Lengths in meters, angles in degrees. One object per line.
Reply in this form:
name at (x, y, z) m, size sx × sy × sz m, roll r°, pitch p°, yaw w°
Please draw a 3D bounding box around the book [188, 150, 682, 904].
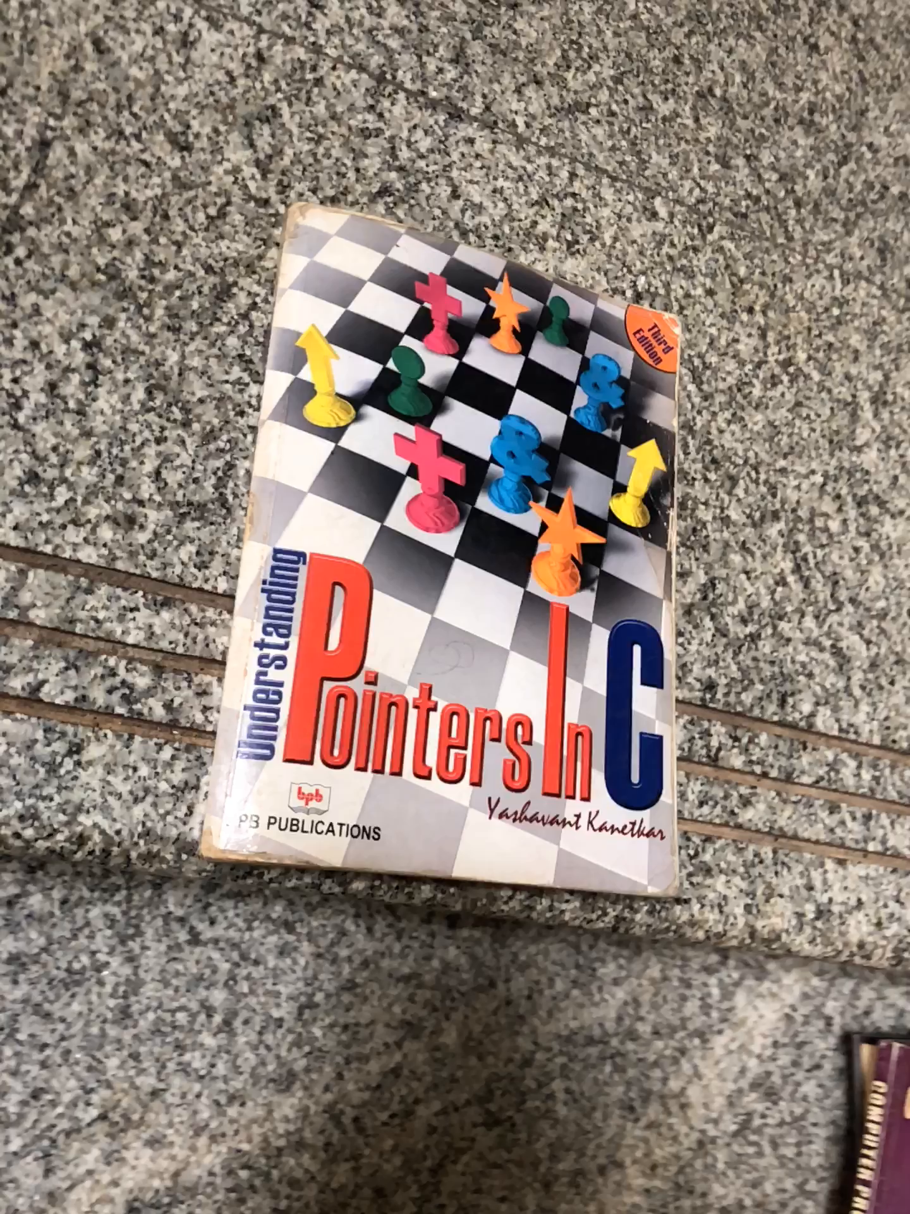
book at (0.004, -0.025, 0.324) m, size 0.140 × 0.030 × 0.220 m, roll 11°, pitch 71°, yaw -20°
